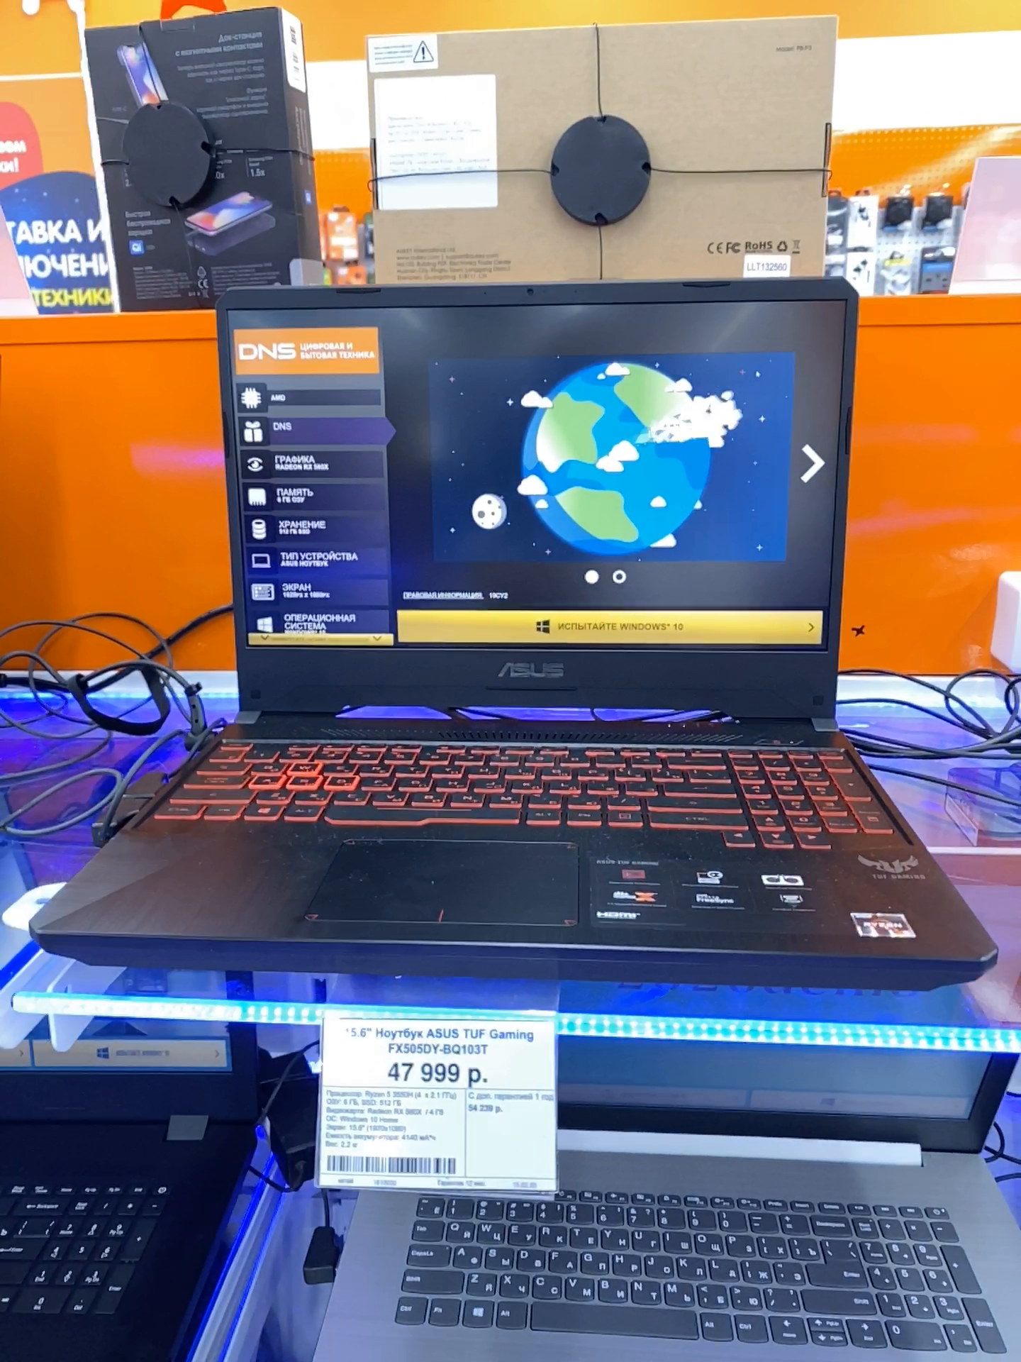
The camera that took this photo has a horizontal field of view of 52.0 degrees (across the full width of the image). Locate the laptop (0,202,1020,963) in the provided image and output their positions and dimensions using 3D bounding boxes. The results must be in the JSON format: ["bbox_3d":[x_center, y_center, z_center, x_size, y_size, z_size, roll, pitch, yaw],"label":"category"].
[{"bbox_3d":[-0.001,-0.064,0.489,0.359,0.248,0.287,1,15,4],"label":"laptop"}]
